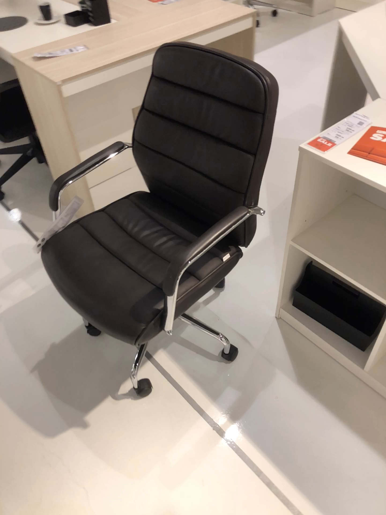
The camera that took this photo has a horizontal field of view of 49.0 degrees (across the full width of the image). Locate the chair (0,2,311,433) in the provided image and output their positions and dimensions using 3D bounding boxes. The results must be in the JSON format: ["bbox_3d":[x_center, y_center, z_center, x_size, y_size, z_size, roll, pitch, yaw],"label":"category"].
[{"bbox_3d":[-0.154,-0.101,1.285,0.572,0.973,0.653,-37,53,-28],"label":"chair"}]
